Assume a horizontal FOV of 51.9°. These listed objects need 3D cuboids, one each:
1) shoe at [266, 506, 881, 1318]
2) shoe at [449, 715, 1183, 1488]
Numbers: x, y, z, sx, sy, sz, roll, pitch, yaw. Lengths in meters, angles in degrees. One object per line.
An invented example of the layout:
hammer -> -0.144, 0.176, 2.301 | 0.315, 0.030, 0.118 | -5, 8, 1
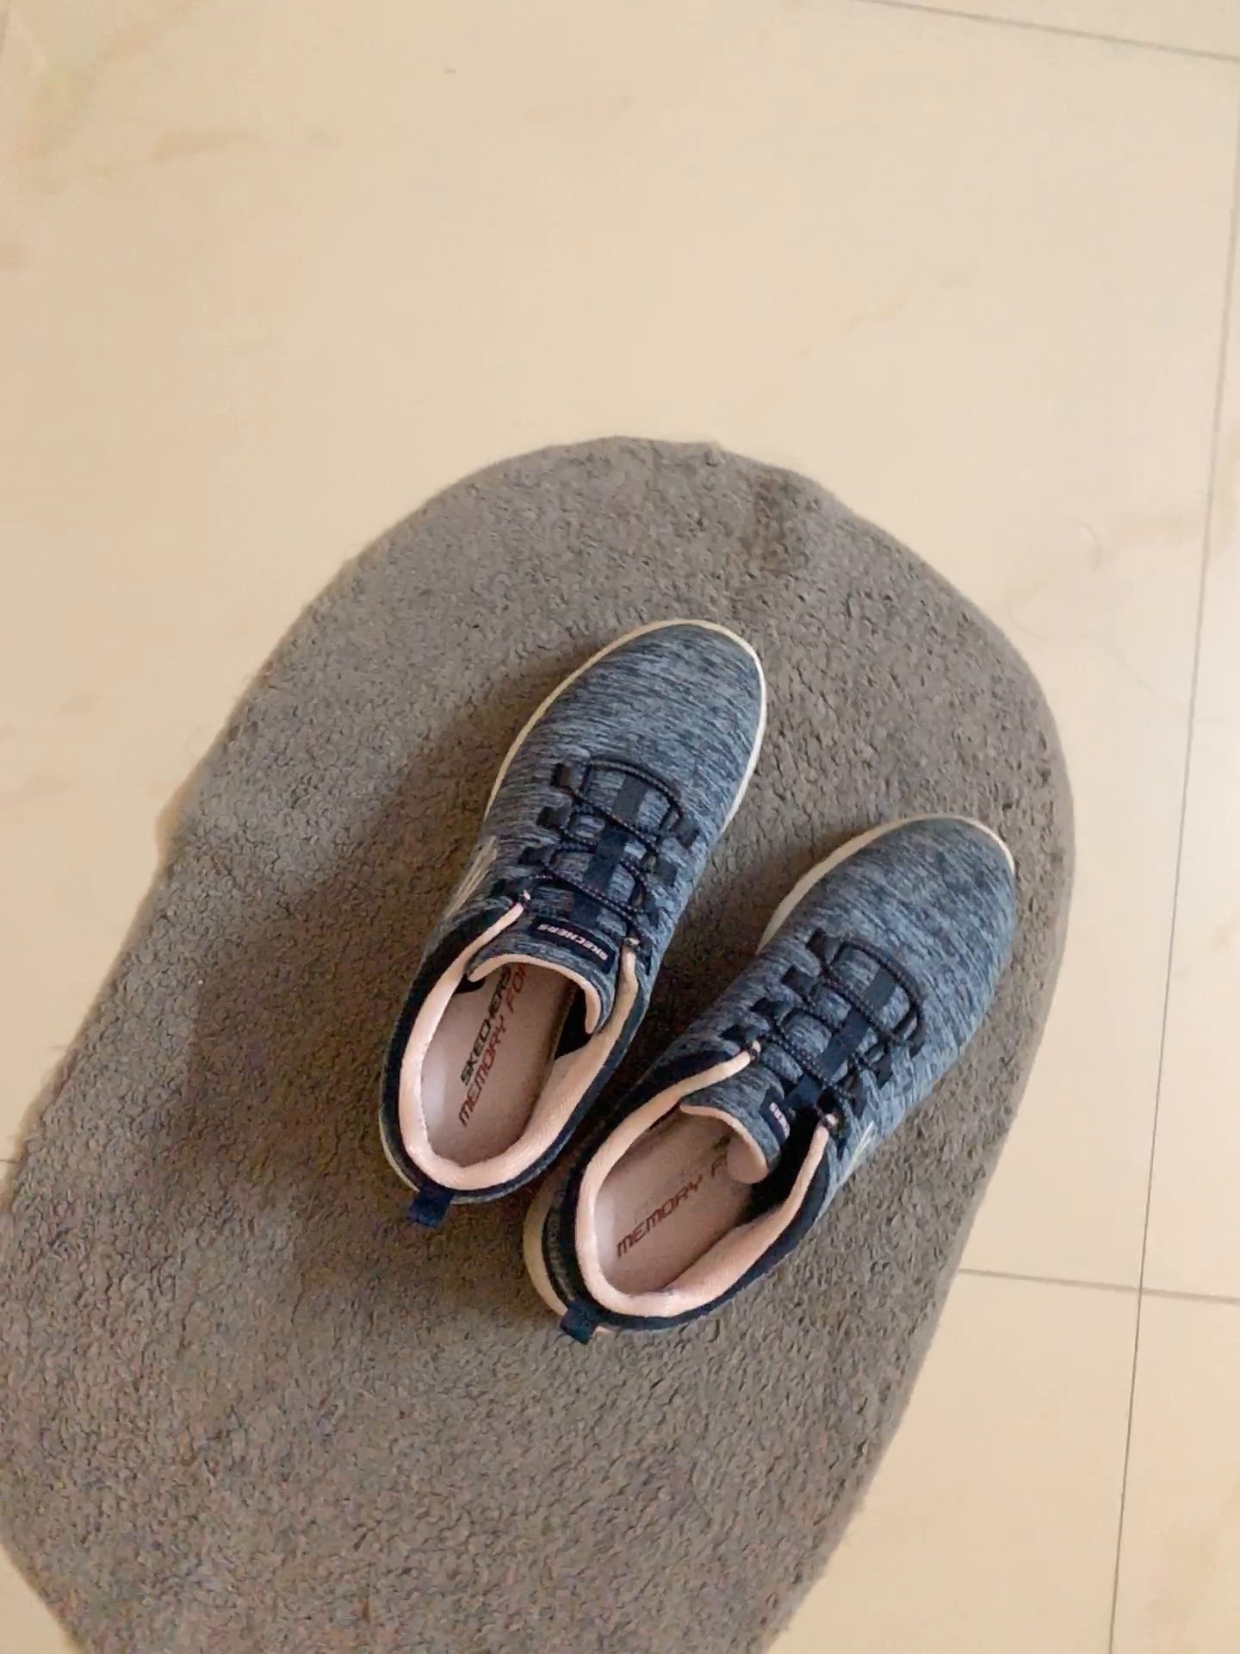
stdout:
shoe -> -0.019, 0.031, 0.524 | 0.100, 0.100, 0.290 | 30, 84, -4
shoe -> 0.067, 0.093, 0.481 | 0.090, 0.100, 0.270 | 44, 84, 1
